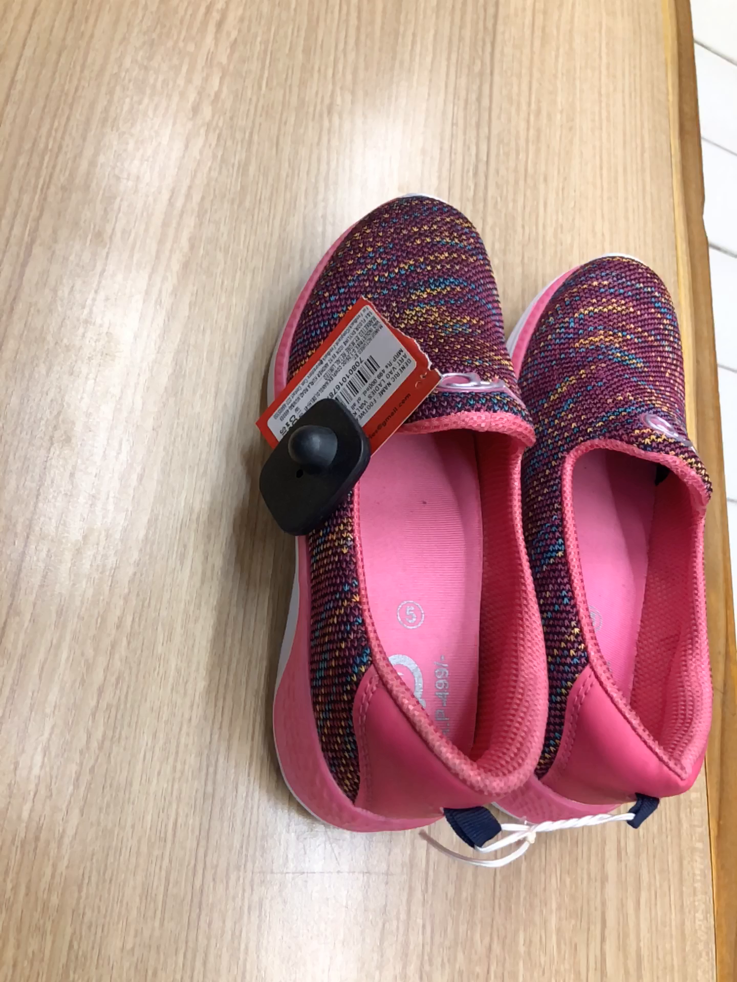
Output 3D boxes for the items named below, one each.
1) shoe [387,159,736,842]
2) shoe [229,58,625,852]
[{"bbox_3d":[0.095,0.004,0.365,0.100,0.099,0.261,19,67,-19],"label":"shoe"},{"bbox_3d":[0.017,-0.009,0.301,0.090,0.099,0.251,10,70,-22],"label":"shoe"}]
